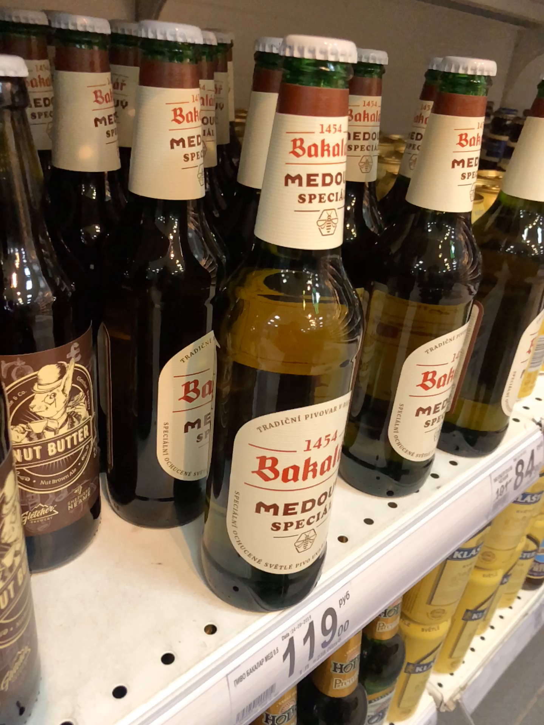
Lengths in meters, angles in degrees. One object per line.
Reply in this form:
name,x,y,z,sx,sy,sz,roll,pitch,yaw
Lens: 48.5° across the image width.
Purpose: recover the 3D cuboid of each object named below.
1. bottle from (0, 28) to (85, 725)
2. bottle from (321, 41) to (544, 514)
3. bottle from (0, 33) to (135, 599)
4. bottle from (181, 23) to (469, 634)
bottle,-0.106,0.031,0.191,0.061,0.233,0.069,7,26,1
bottle,0.089,-0.039,0.346,0.065,0.249,0.061,5,26,-2
bottle,-0.109,-0.013,0.272,0.069,0.231,0.061,-18,35,-39
bottle,0.009,-0.004,0.268,0.070,0.249,0.066,5,26,-2
